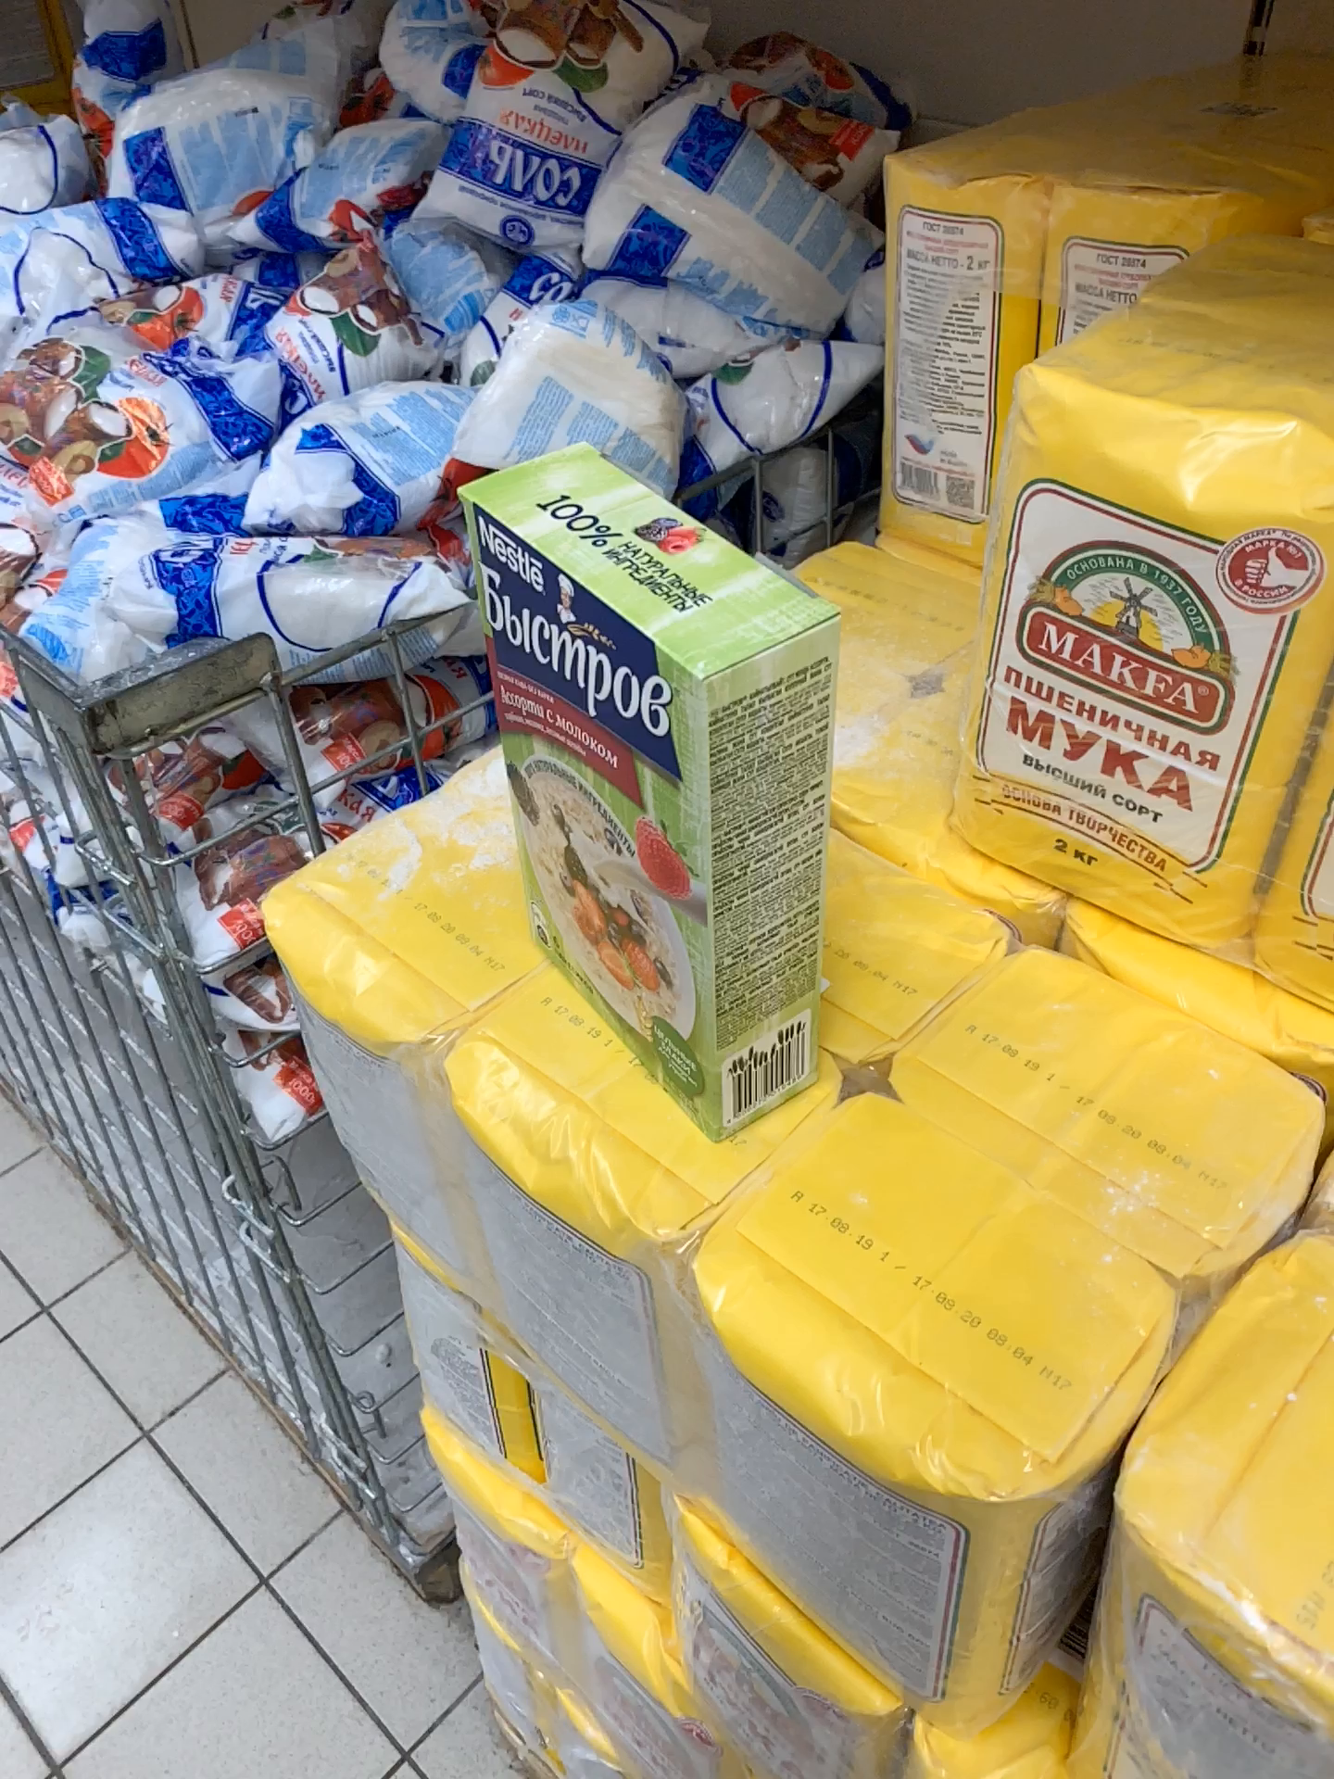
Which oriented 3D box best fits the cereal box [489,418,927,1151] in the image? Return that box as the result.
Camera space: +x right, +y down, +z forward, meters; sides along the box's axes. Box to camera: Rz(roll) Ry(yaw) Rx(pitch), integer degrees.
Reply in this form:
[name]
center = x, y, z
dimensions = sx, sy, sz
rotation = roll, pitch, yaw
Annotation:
[cereal box]
center = 0.012, -0.027, 0.407
dimensions = 0.050, 0.178, 0.121
rotation = -28, 48, -21
